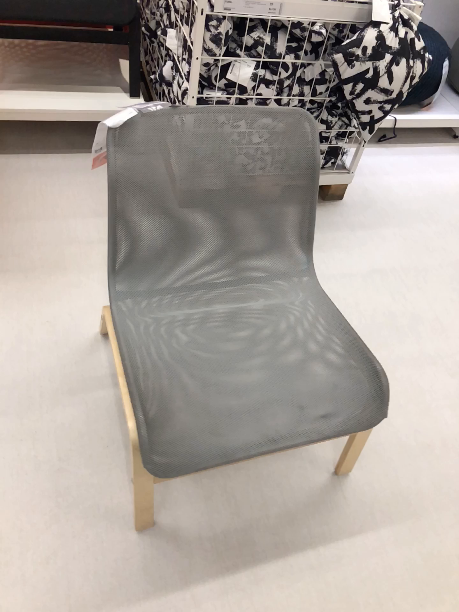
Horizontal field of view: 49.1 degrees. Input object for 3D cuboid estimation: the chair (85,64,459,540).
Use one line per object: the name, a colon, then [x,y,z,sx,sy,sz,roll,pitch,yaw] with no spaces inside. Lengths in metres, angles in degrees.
chair: [0.047,0.006,1.179,0.631,0.825,0.643,-8,51,-18]
